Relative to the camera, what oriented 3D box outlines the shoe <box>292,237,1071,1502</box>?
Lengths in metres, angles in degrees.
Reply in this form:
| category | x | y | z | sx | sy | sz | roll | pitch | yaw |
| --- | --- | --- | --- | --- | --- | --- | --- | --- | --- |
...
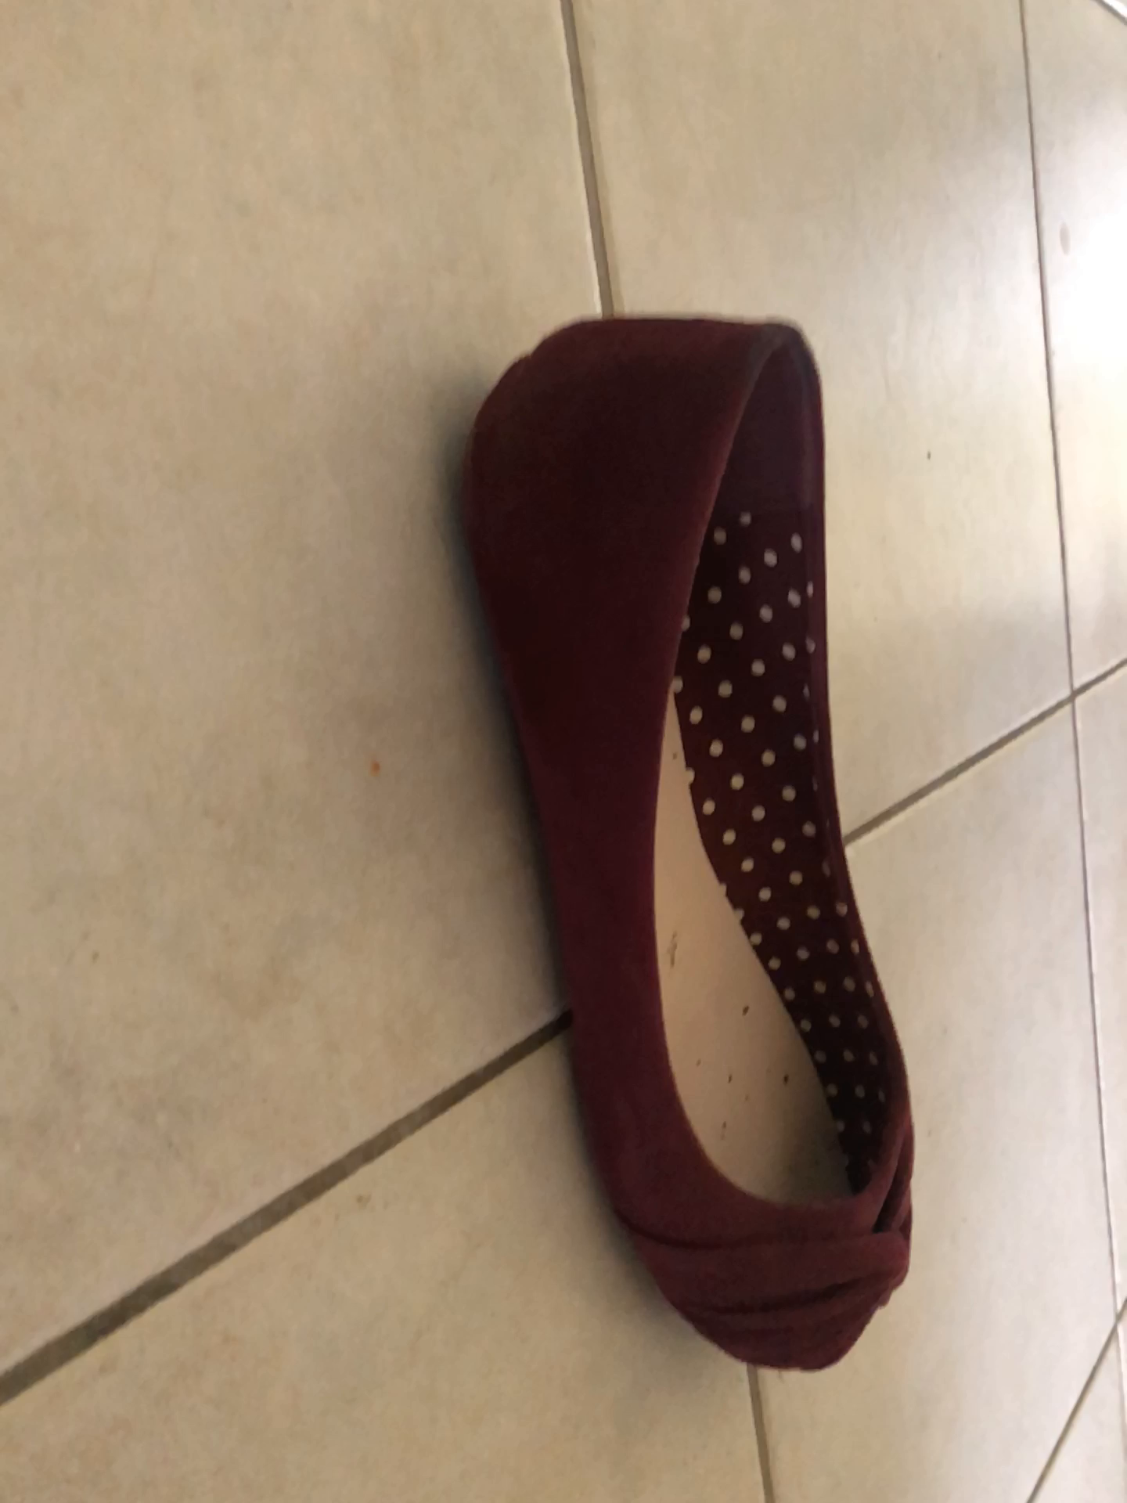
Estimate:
| category | x | y | z | sx | sy | sz | roll | pitch | yaw |
| --- | --- | --- | --- | --- | --- | --- | --- | --- | --- |
| shoe | 0.038 | 0.034 | 0.272 | 0.082 | 0.079 | 0.251 | -34 | 115 | -41 |
